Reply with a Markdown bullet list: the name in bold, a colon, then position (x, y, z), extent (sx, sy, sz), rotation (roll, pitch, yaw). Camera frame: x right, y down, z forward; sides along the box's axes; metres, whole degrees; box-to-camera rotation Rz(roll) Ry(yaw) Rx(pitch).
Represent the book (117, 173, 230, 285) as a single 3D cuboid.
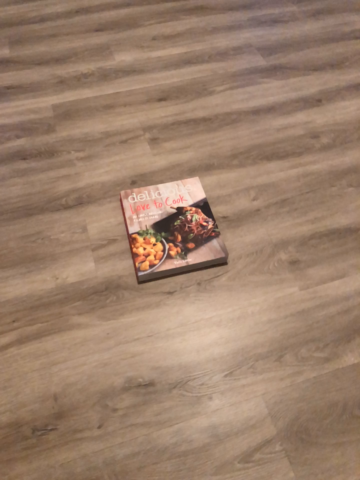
- **book**: position (-0.026, -0.040, 1.000), extent (0.221, 0.030, 0.291), rotation (-11, 53, -8)
